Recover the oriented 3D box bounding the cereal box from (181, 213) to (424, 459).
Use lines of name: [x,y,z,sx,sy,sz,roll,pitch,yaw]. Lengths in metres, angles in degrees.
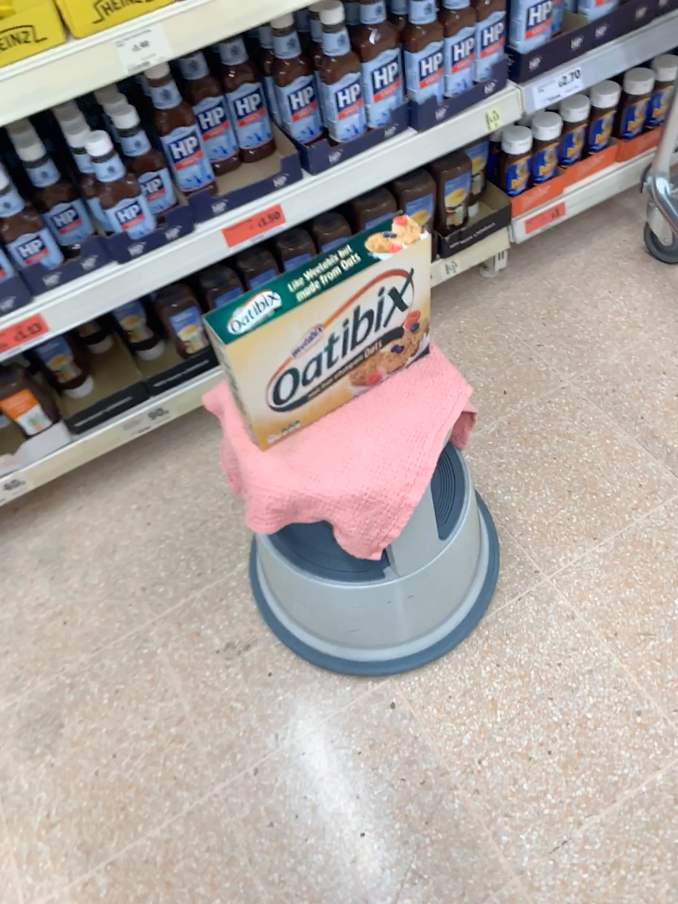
cereal box: [-0.026,-0.131,0.809,0.270,0.188,0.060,-31,58,-13]
